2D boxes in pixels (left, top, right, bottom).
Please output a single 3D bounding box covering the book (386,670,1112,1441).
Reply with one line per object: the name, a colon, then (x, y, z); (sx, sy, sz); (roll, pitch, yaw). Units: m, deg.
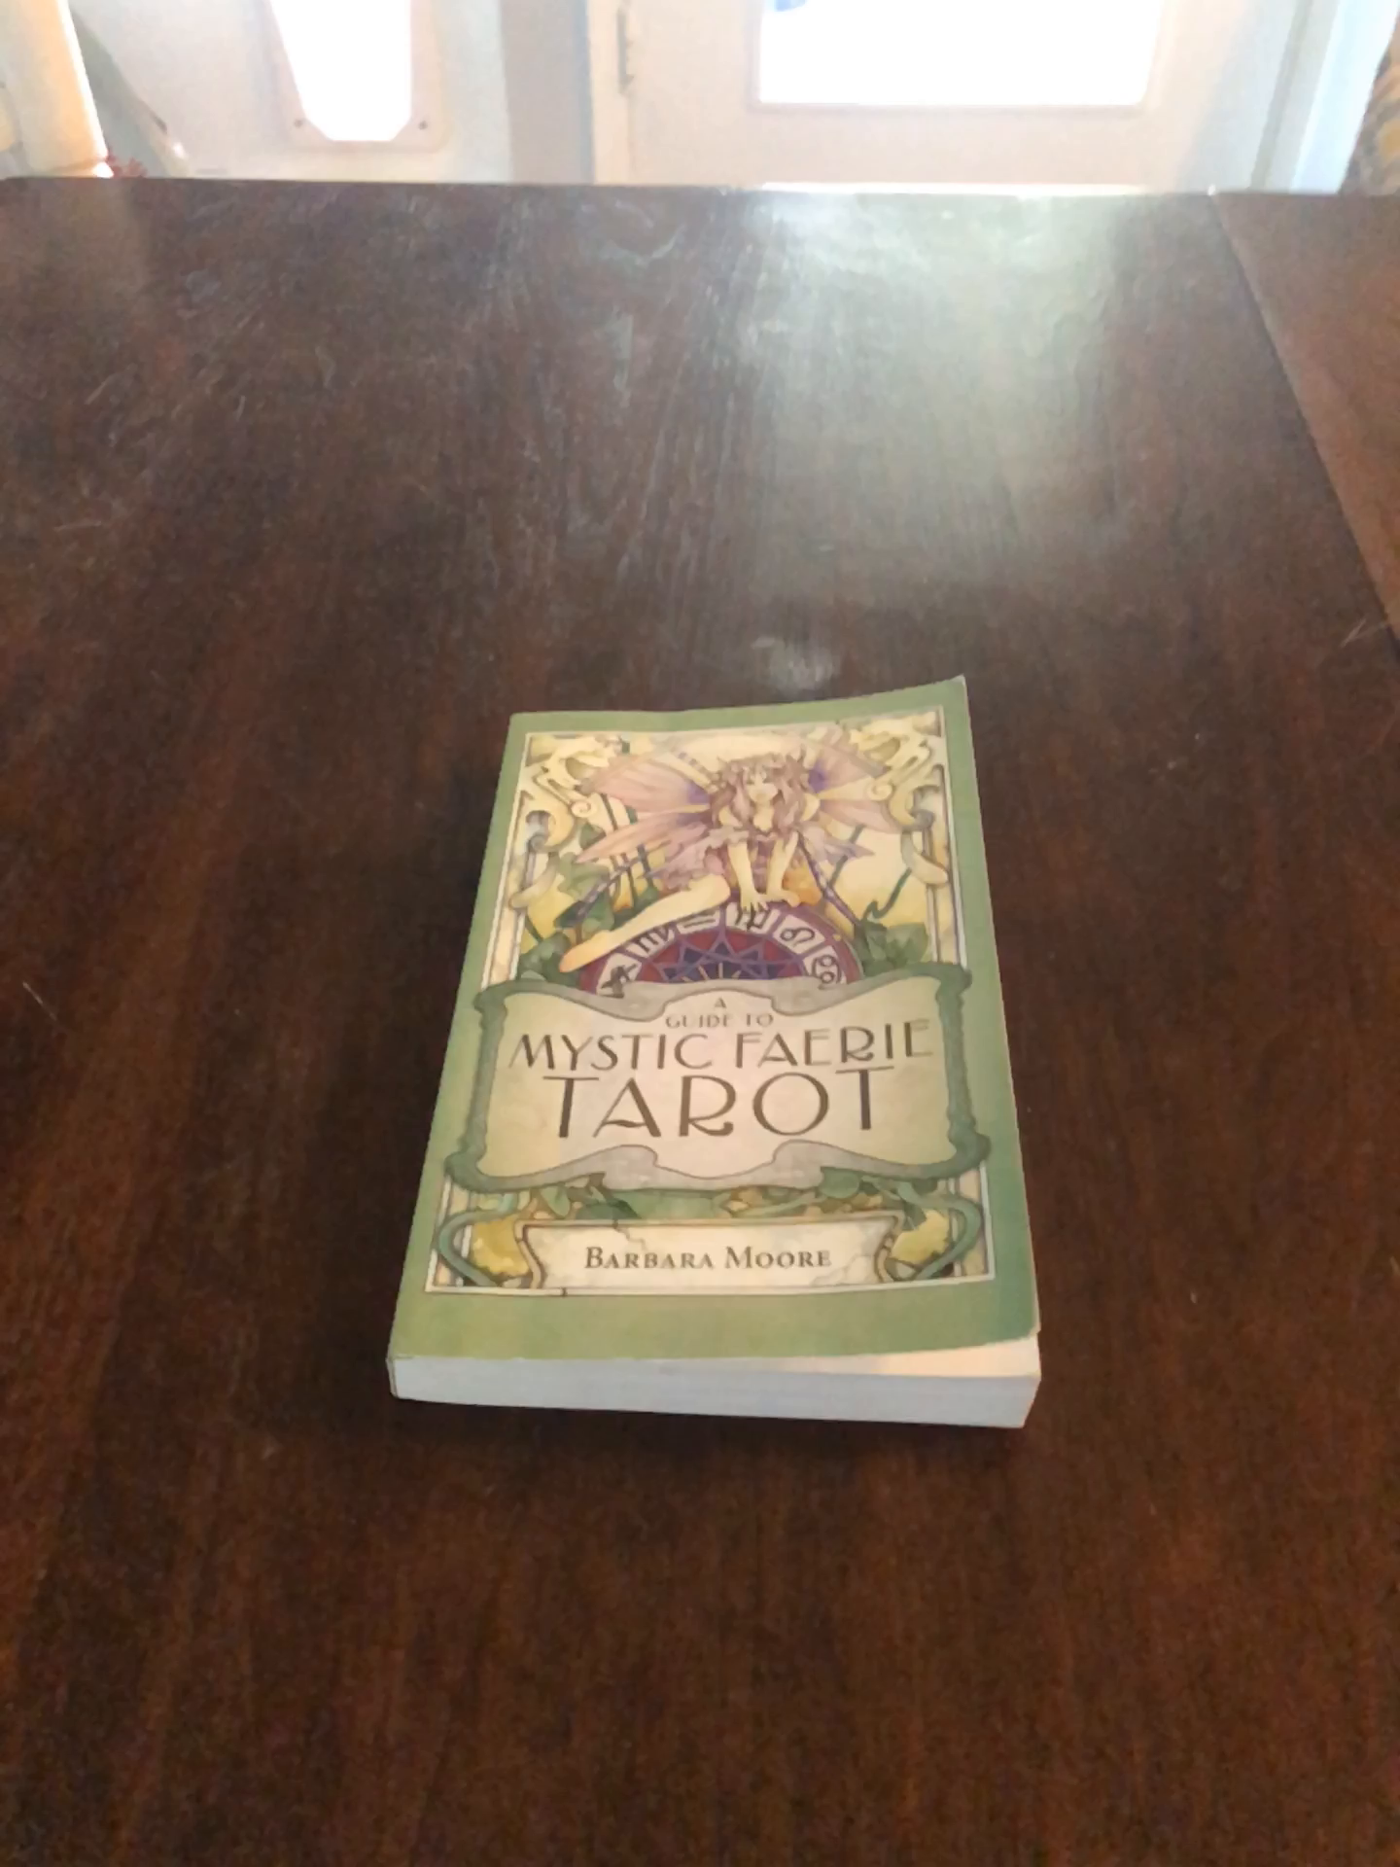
book: (0.014, 0.015, 0.379); (0.139, 0.032, 0.209); (0, 48, 4)
